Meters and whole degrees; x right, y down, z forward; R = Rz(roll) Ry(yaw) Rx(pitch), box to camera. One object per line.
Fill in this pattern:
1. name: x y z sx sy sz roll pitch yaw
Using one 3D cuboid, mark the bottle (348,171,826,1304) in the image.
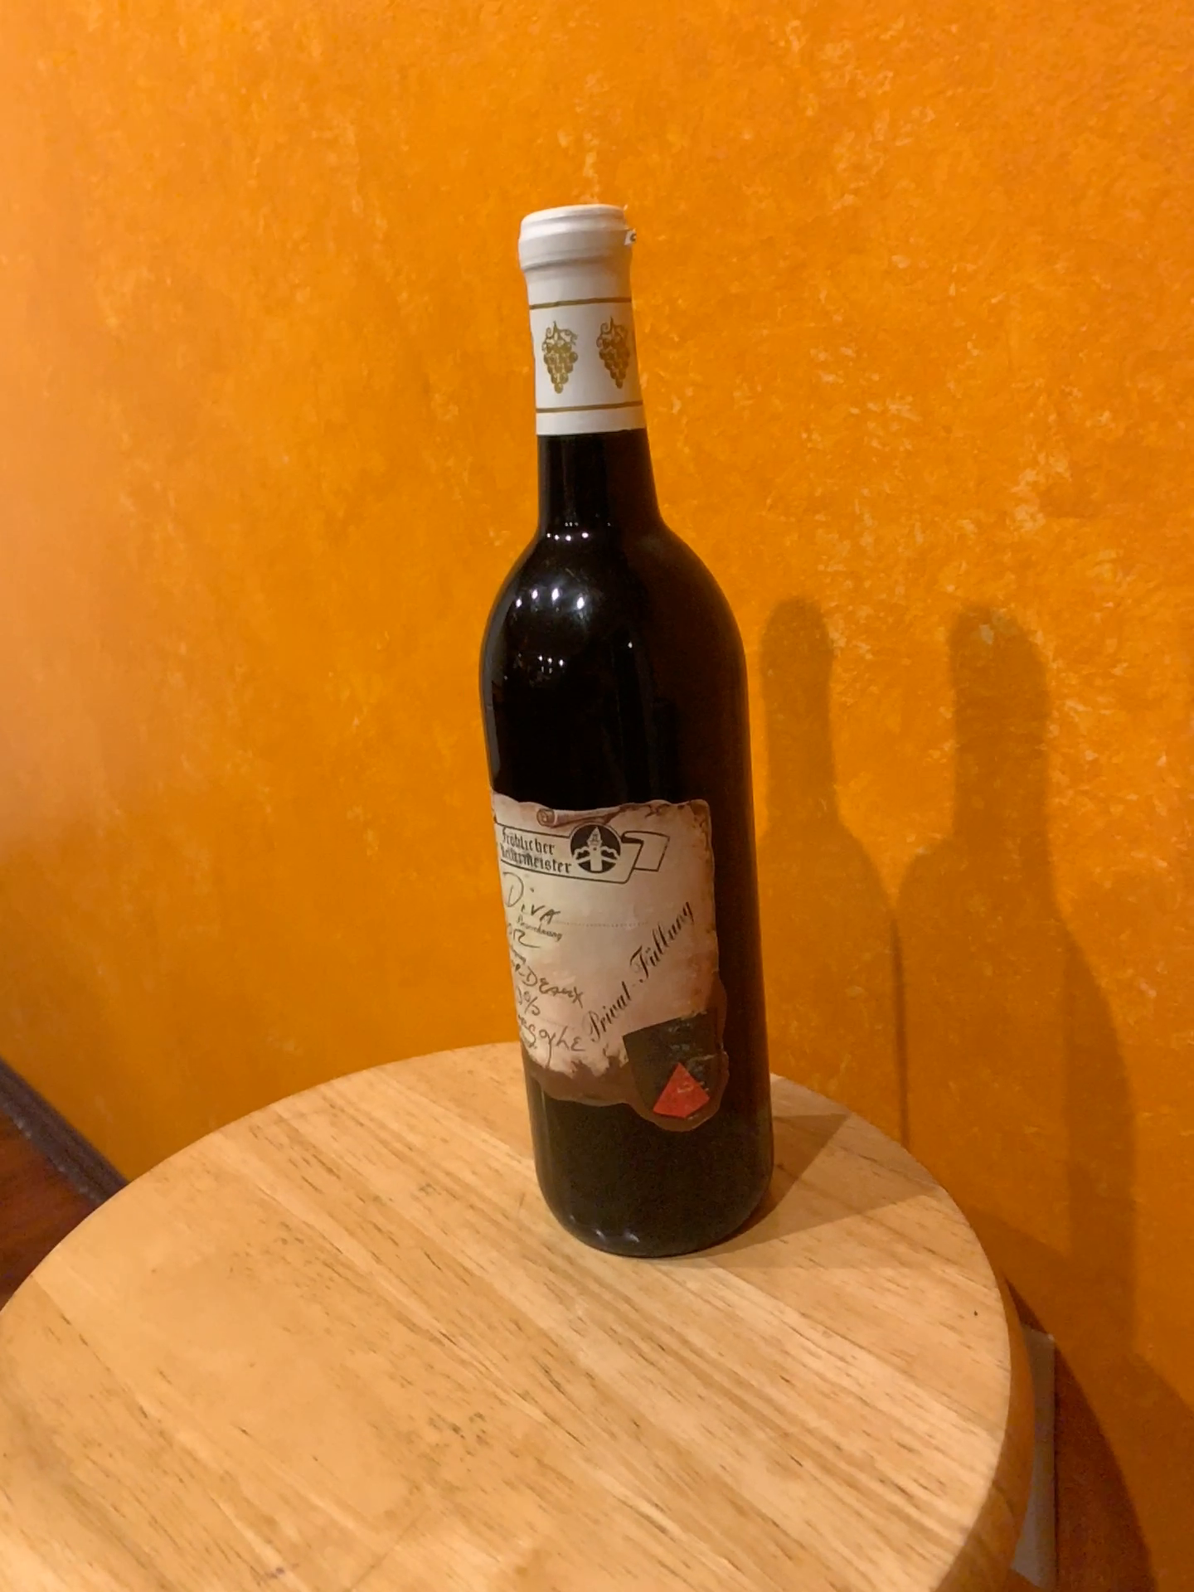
1. bottle: 0.004 -0.011 0.352 0.070 0.289 0.080 -20 23 -36
